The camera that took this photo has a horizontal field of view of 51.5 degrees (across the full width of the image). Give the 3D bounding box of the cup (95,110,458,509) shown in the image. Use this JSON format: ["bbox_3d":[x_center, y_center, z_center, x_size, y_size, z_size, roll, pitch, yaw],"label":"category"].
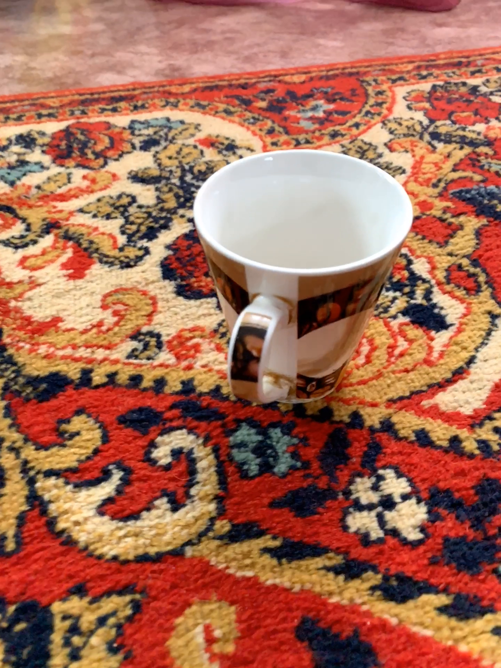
[{"bbox_3d":[0.018,-0.017,0.192,0.080,0.079,0.111,16,47,18],"label":"cup"}]
